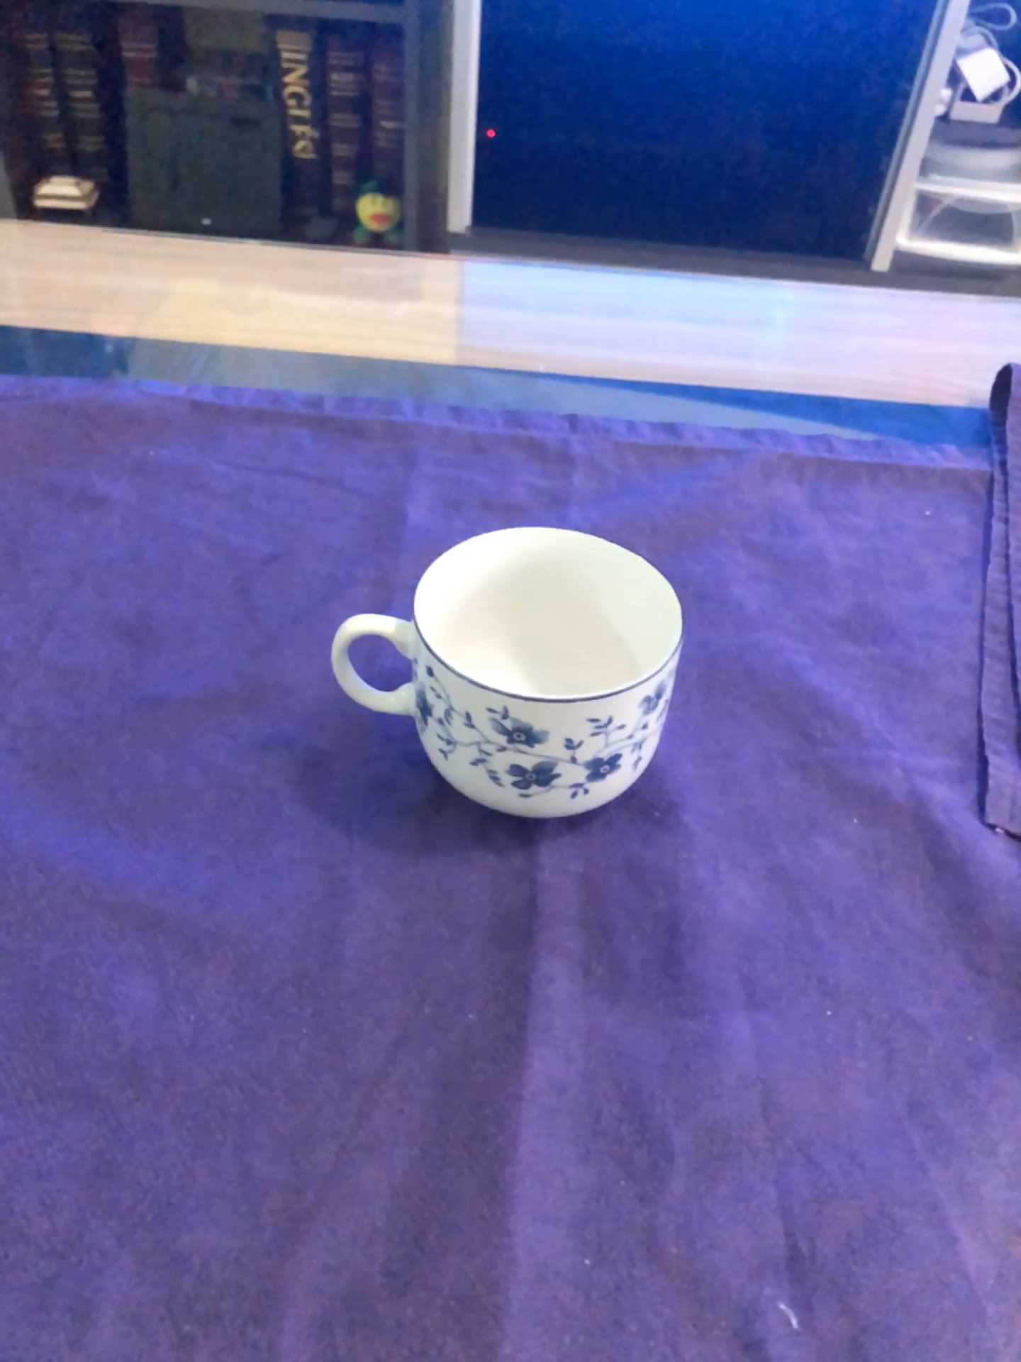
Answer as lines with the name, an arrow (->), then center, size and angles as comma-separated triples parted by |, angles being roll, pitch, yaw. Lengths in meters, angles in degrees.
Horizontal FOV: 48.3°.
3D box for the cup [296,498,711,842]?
cup -> -0.003, -0.004, 0.320 | 0.100, 0.060, 0.070 | 3, 44, -2
